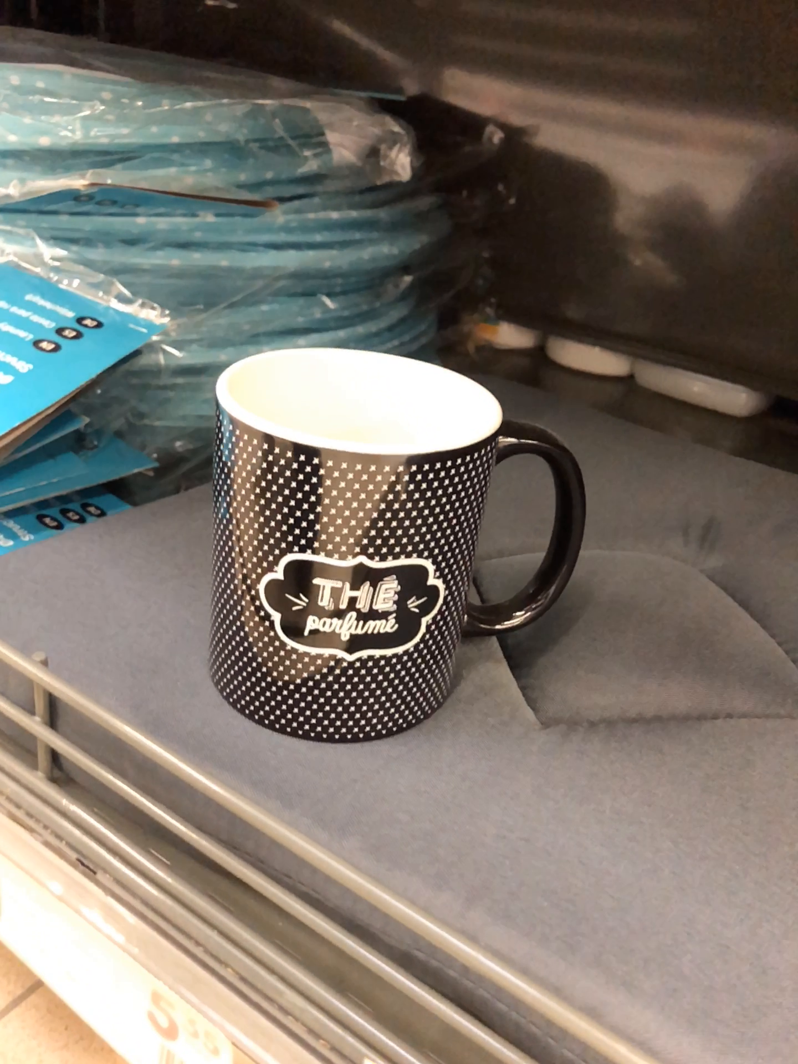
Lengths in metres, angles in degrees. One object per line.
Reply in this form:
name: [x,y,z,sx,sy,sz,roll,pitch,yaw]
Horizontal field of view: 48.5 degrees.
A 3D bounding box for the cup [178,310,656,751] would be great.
cup: [-0.007,-0.004,0.277,0.120,0.099,0.090,0,28,-15]
